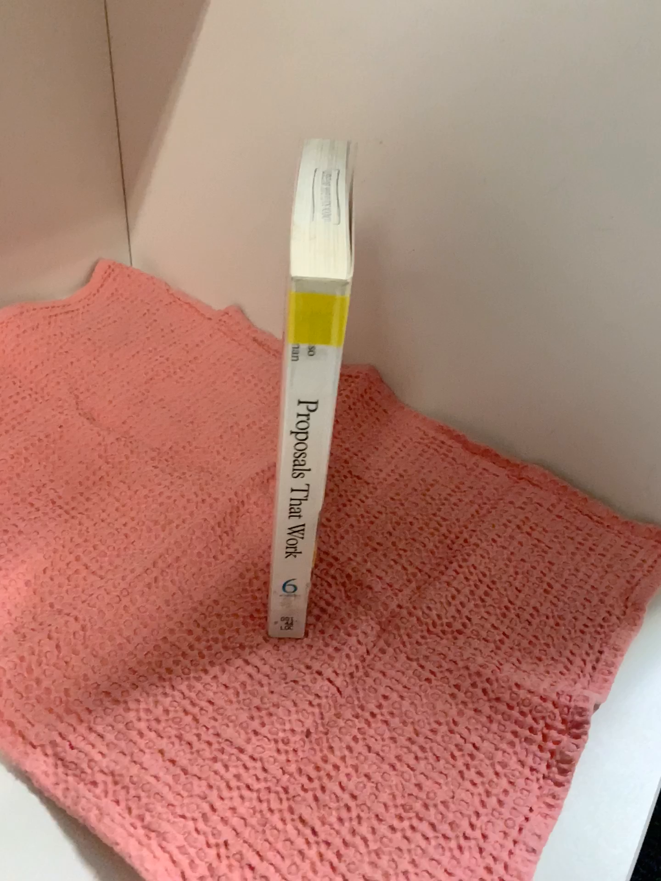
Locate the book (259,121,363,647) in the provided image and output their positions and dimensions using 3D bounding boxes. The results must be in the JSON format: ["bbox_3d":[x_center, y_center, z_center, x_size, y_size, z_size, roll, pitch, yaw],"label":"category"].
[{"bbox_3d":[-0.015,-0.029,0.390,0.030,0.238,0.182,4,40,-4],"label":"book"}]
